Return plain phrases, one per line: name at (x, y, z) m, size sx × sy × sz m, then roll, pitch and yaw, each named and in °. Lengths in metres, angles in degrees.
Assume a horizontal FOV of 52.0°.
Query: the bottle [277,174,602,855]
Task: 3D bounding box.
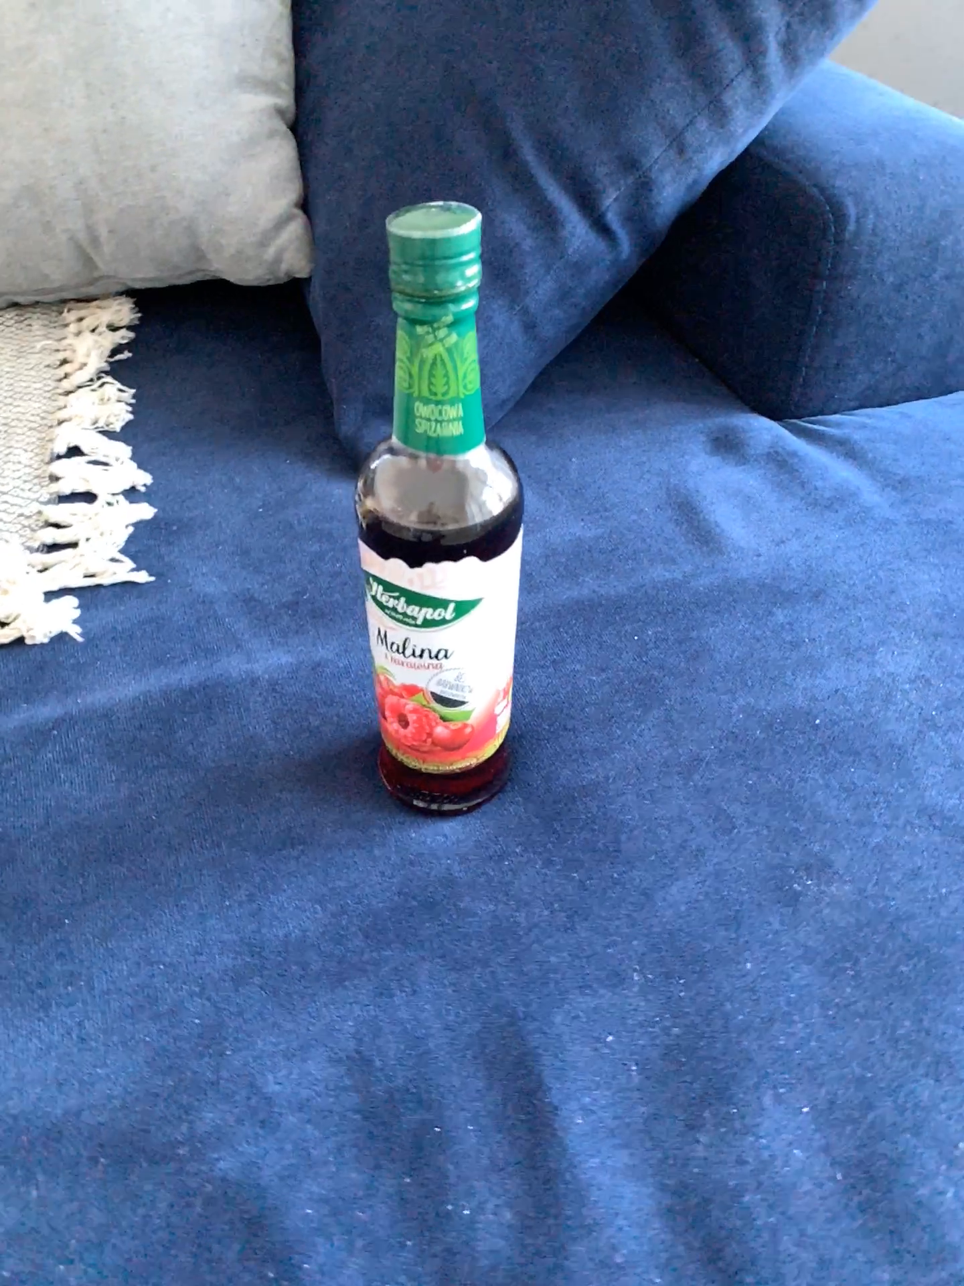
bottle at (-0.012, -0.032, 0.378) m, size 0.070 × 0.249 × 0.070 m, roll 0°, pitch 43°, yaw 0°
